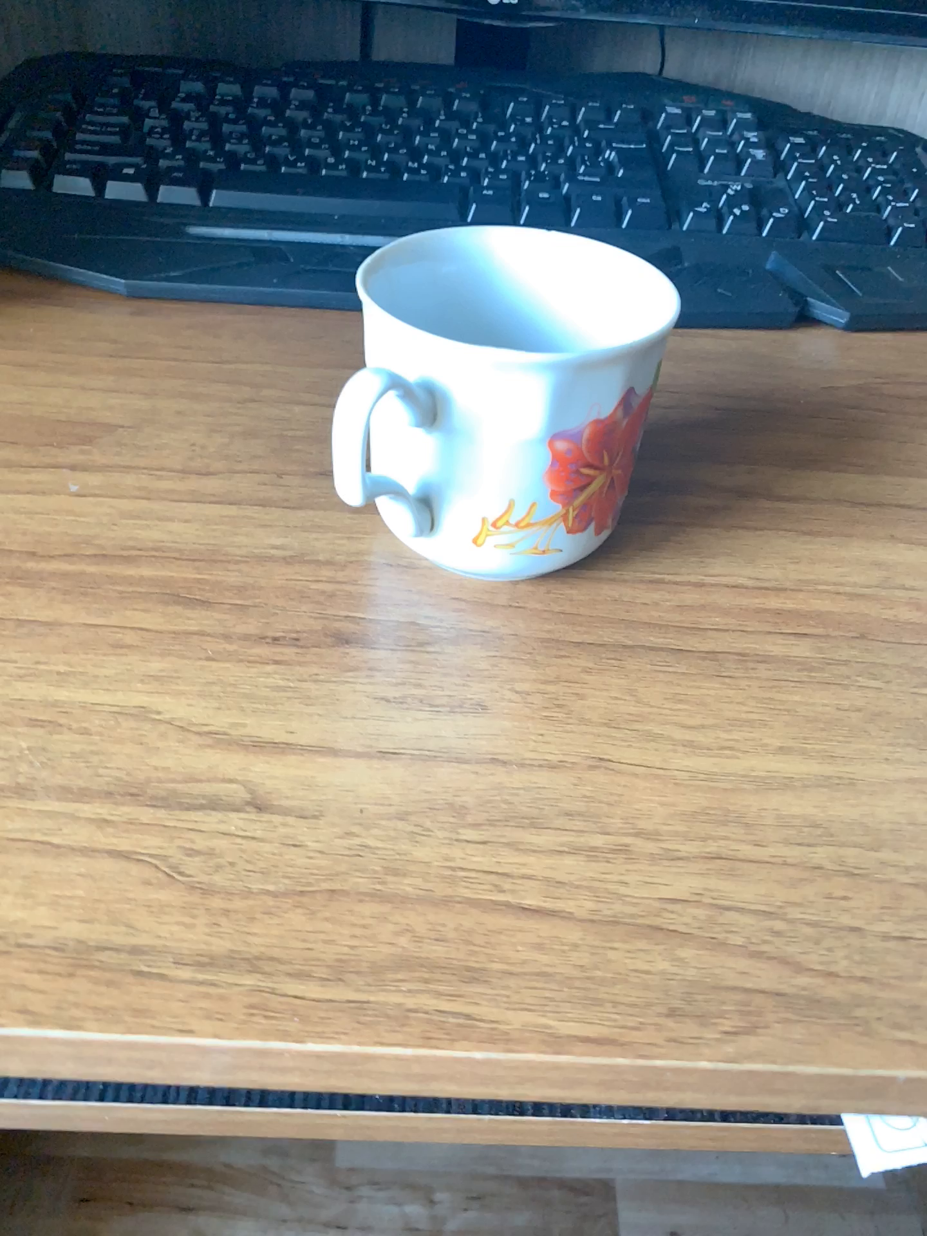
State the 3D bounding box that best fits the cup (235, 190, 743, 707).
[{"bbox_3d":[0.009,-0.051,0.251,0.070,0.080,0.110,27,44,25],"label":"cup"}]
